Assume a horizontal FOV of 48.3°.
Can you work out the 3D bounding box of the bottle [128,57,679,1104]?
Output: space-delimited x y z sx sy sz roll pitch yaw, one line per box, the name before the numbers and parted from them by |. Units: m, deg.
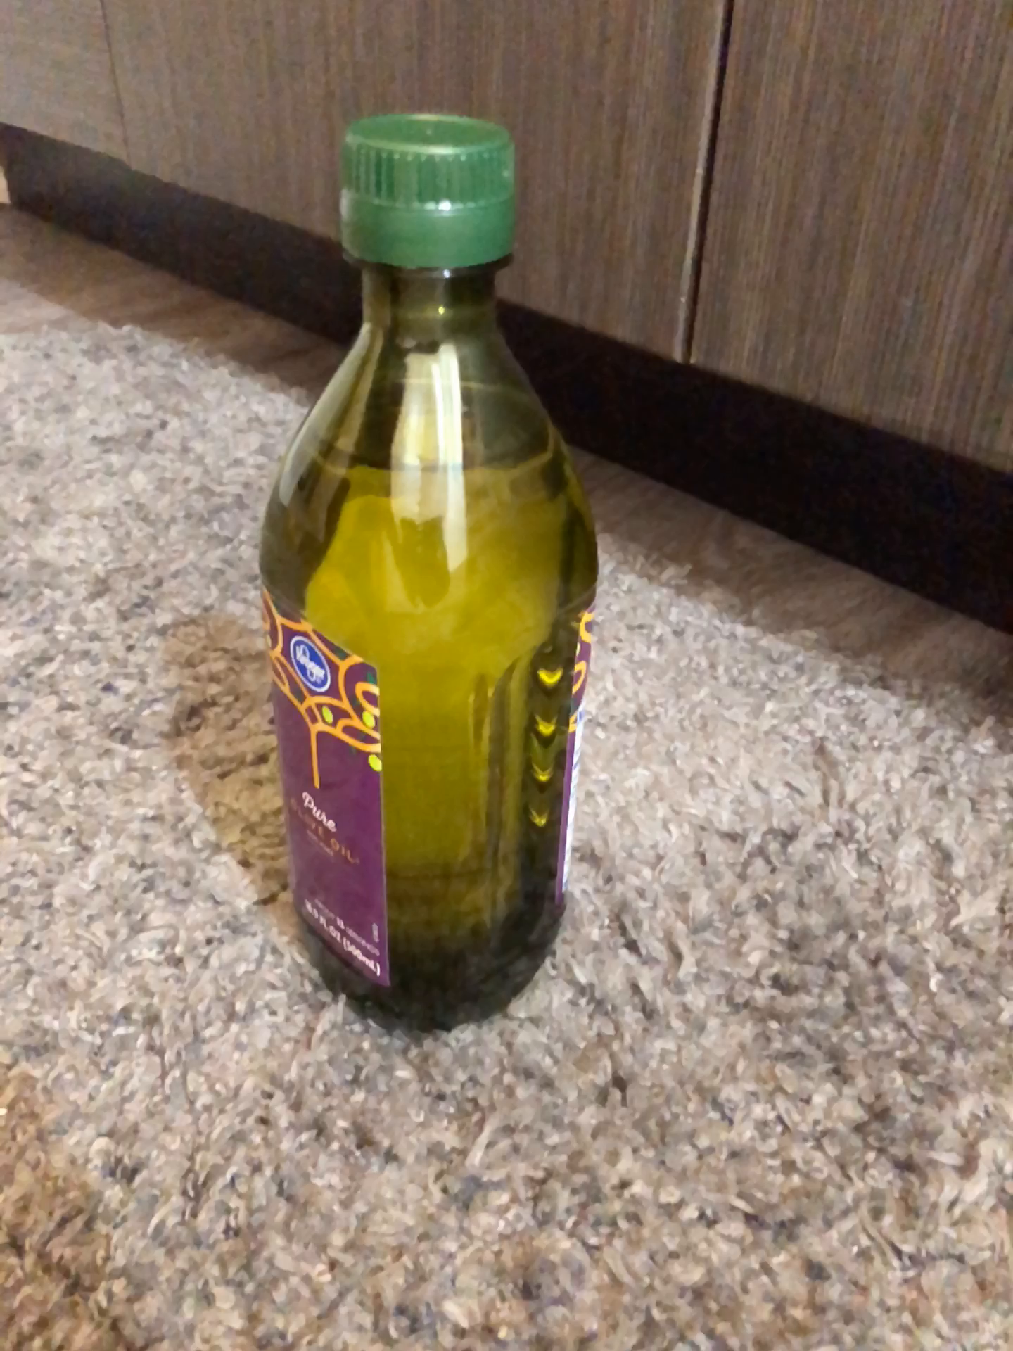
bottle | -0.020 -0.009 0.245 0.060 0.209 0.070 -24 44 -30
